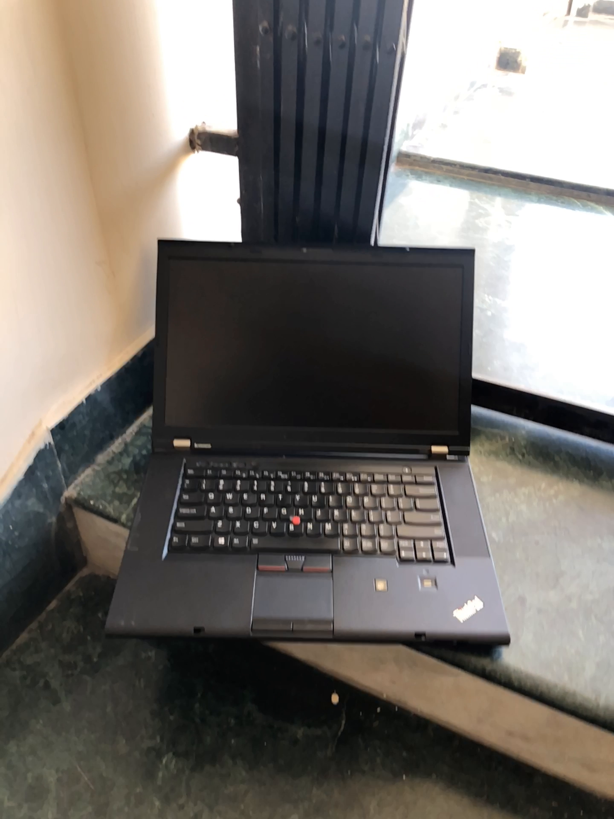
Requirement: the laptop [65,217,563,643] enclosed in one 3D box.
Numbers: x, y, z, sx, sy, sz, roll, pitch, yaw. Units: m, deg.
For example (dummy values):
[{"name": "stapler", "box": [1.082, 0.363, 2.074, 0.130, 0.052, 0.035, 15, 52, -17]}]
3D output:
[{"name": "laptop", "box": [0.006, -0.006, 0.682, 0.359, 0.181, 0.390, 2, 43, 0]}]
